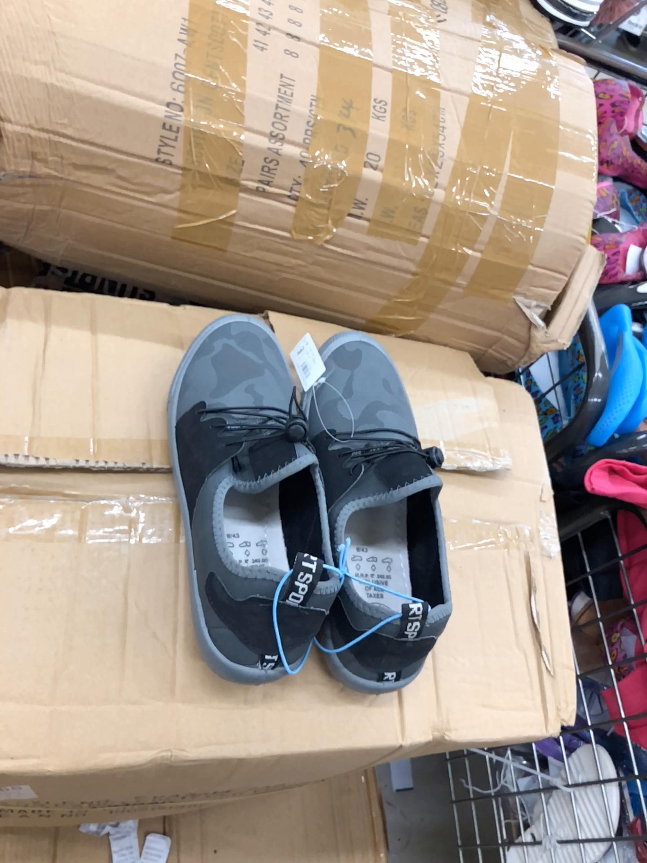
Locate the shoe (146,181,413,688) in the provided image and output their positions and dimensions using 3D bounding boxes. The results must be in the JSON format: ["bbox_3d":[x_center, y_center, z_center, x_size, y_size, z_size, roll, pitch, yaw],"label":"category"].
[{"bbox_3d":[-0.051,0.001,0.496,0.110,0.149,0.301,4,59,-23],"label":"shoe"}]

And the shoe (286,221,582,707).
[{"bbox_3d":[0.055,0.020,0.502,0.110,0.129,0.301,7,58,-21],"label":"shoe"}]
